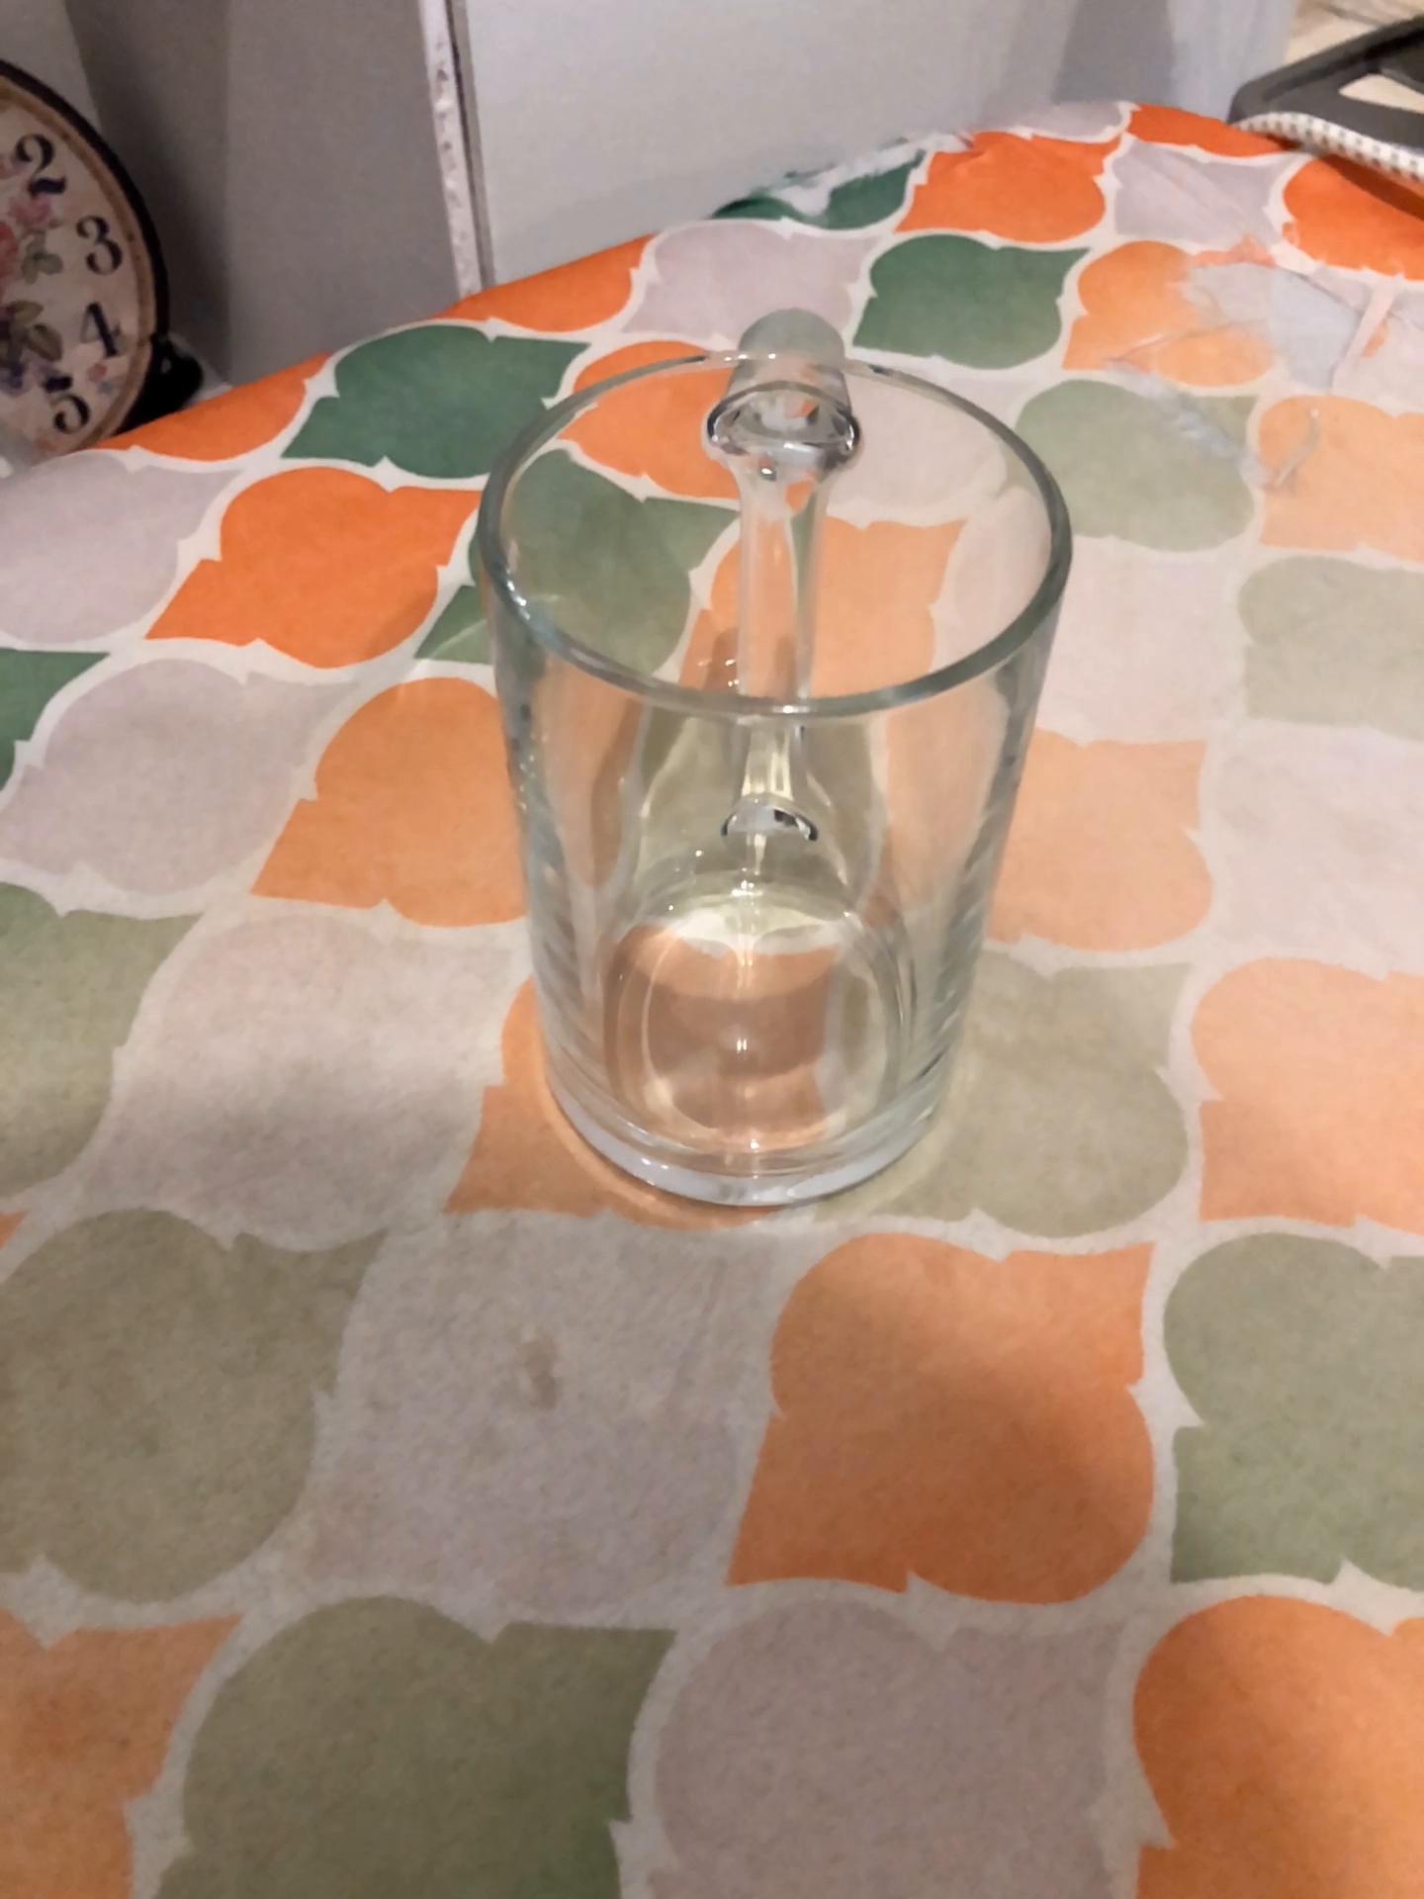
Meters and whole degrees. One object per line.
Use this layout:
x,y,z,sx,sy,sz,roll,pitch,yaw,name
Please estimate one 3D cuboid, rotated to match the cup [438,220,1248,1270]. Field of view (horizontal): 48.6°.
0.015,-0.028,0.229,0.080,0.099,0.111,2,53,2,cup
